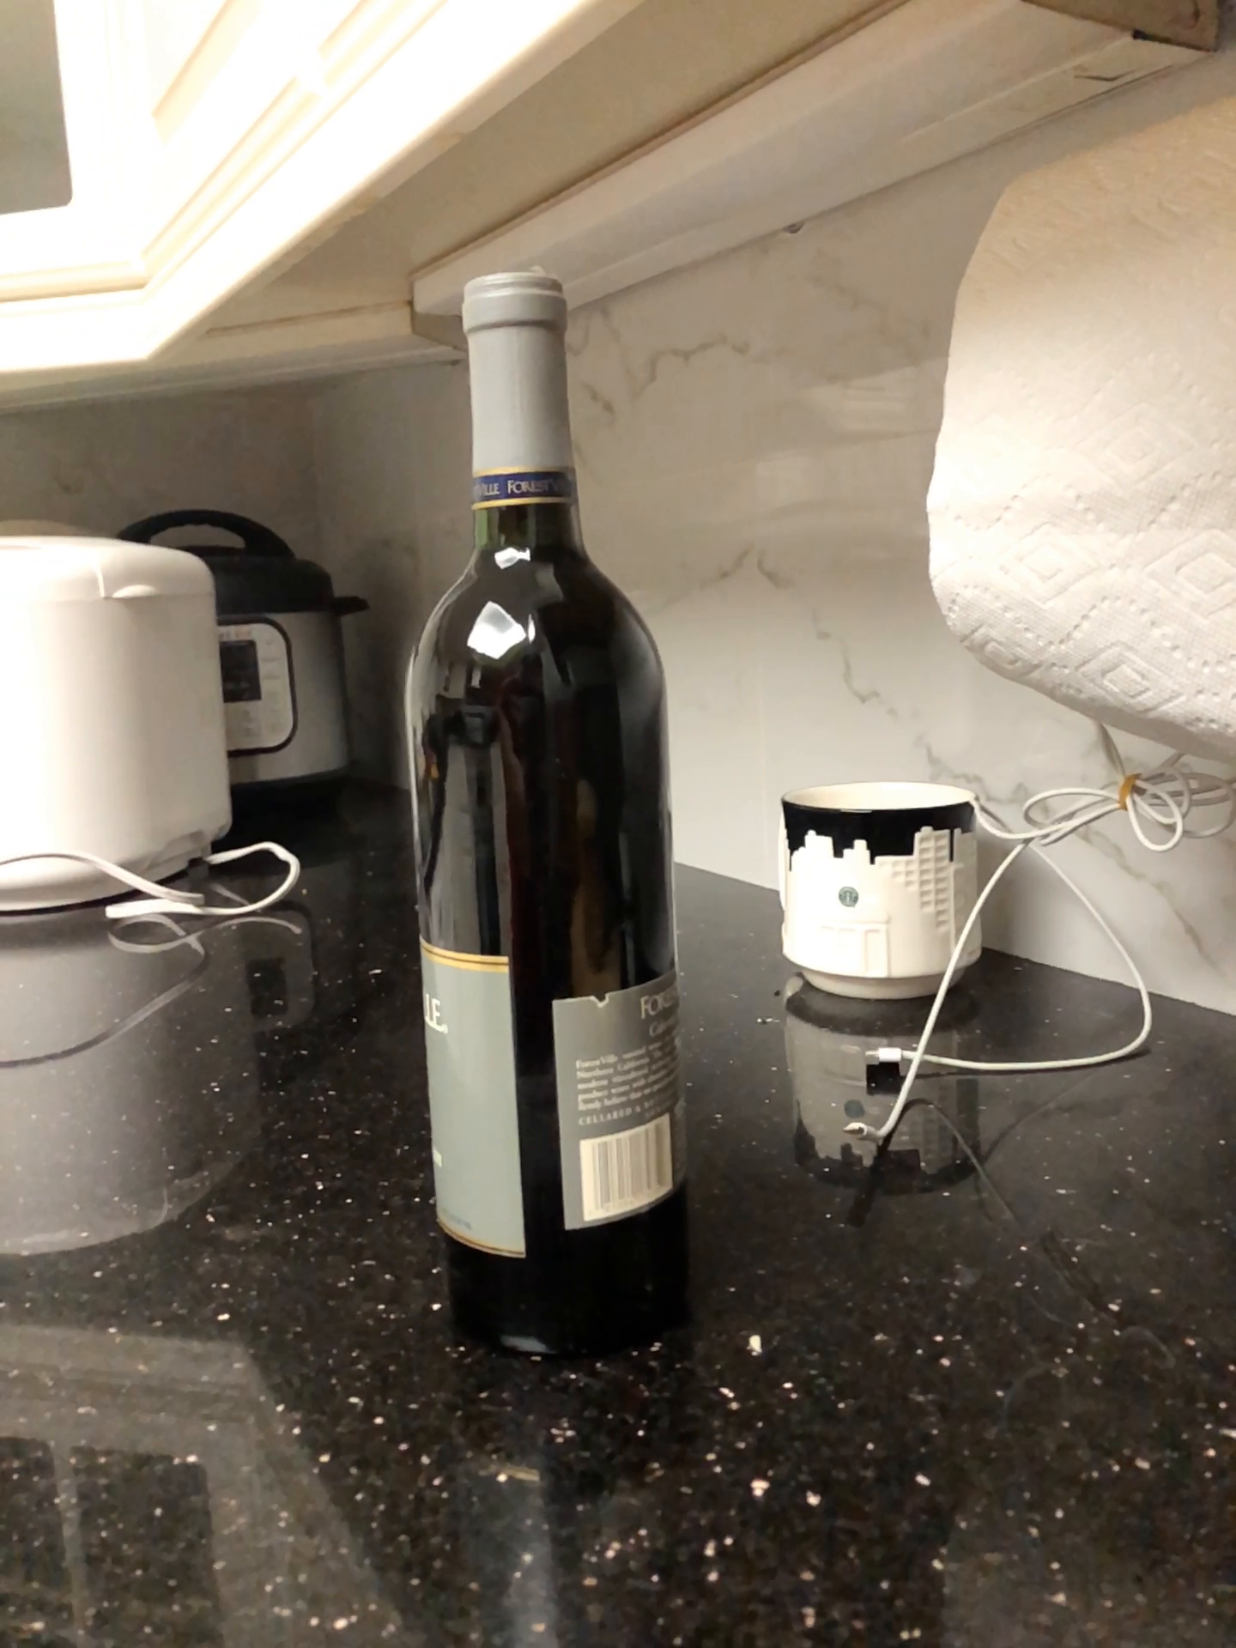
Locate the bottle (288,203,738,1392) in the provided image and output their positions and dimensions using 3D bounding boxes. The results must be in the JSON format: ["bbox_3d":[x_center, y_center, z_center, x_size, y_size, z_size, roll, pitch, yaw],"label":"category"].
[{"bbox_3d":[-0.022,-0.004,0.389,0.090,0.299,0.080,0,10,17],"label":"bottle"}]
